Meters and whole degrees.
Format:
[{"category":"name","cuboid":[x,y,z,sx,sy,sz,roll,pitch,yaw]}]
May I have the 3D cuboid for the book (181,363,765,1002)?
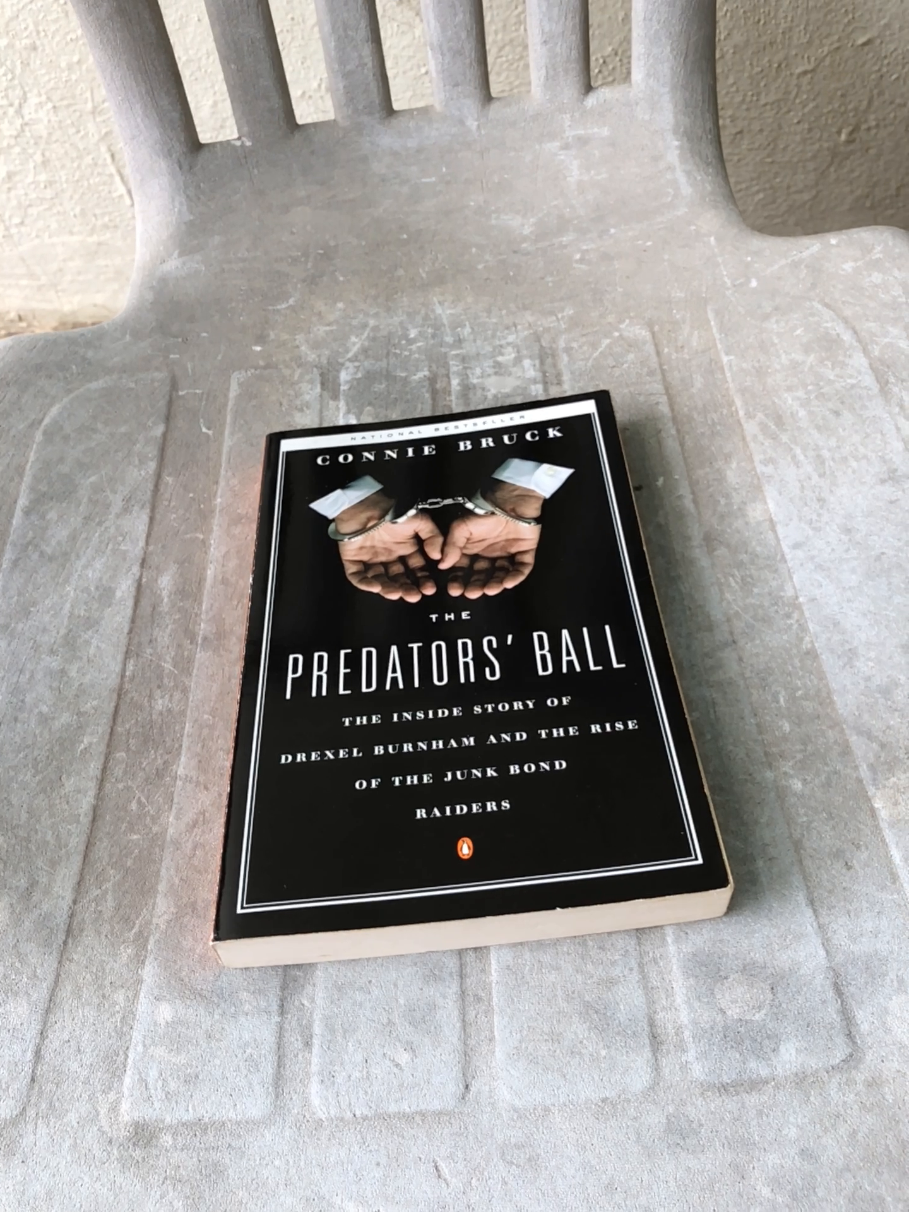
[{"category":"book","cuboid":[-0.001,0.007,0.322,0.140,0.030,0.211,-7,49,3]}]
